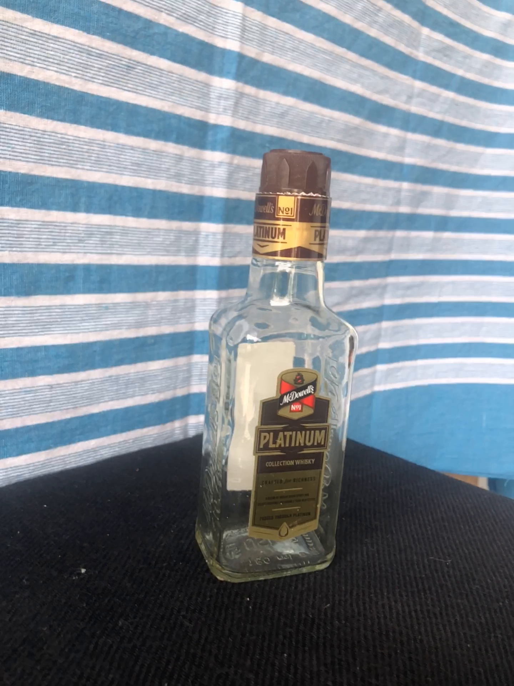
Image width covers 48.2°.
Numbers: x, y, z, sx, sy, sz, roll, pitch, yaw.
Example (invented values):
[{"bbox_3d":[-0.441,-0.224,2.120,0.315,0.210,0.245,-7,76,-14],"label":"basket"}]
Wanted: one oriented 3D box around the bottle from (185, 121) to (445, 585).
[{"bbox_3d":[0.017,0.005,0.209,0.060,0.150,0.040,3,13,-25],"label":"bottle"}]
